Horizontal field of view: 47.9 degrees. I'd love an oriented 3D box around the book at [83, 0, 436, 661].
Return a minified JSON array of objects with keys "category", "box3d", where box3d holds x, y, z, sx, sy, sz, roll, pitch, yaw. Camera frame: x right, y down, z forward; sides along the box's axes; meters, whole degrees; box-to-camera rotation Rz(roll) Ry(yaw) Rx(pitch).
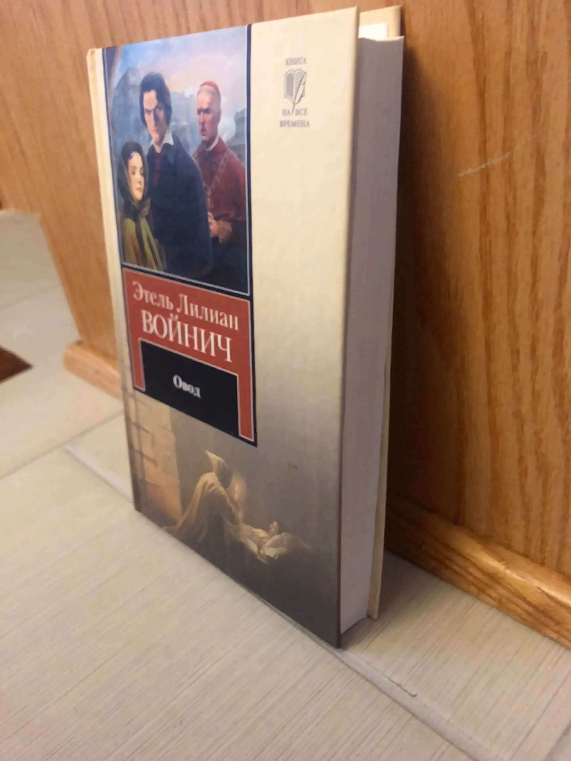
[{"category":"book","box3d":[-0.018,-0.019,0.245,0.030,0.203,0.139,-19,28,-40]}]
